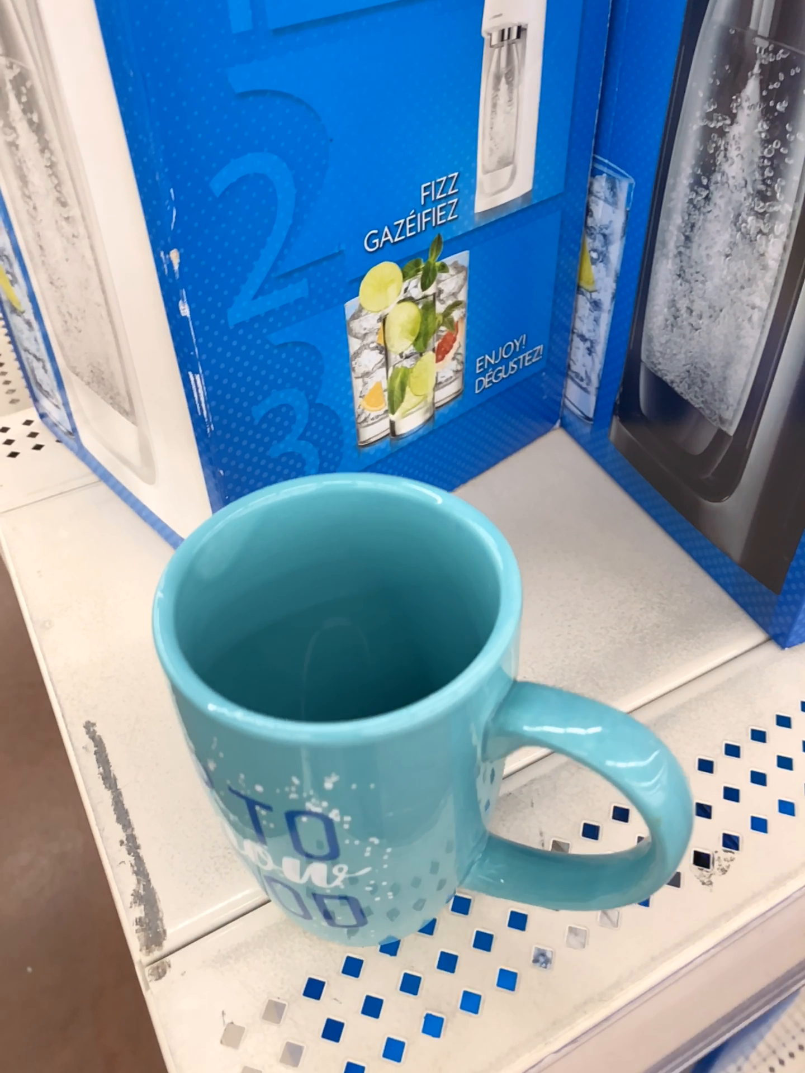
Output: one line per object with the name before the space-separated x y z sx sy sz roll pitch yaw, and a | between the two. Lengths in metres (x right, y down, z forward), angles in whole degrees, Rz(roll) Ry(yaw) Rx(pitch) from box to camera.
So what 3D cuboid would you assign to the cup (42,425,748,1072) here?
cup | 0.004 0.057 0.248 0.140 0.120 0.090 14 45 16
